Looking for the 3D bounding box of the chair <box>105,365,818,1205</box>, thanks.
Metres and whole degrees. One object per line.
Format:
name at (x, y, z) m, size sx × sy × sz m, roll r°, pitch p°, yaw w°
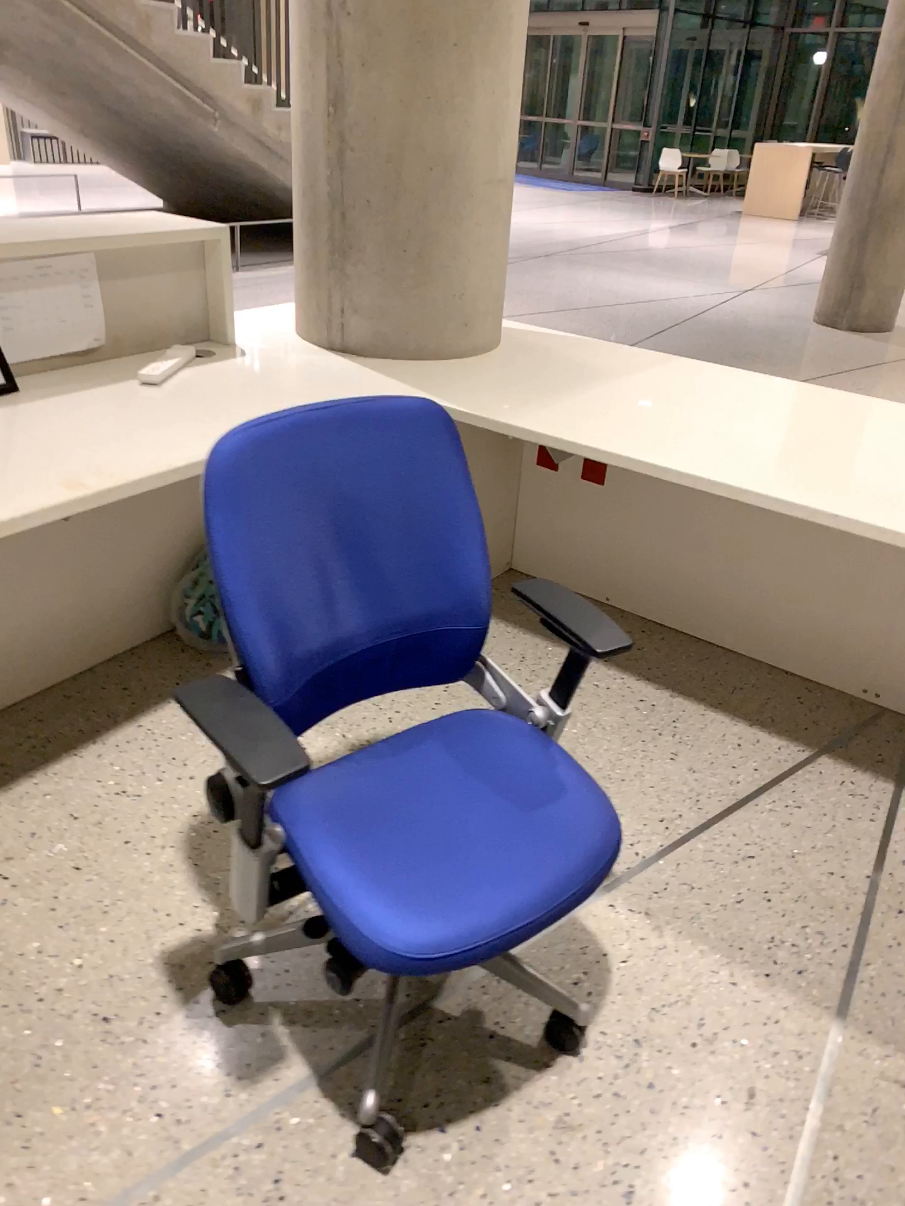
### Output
chair at (-0.021, 0.201, 1.401) m, size 0.699 × 0.907 × 0.607 m, roll -17°, pitch 34°, yaw -34°
